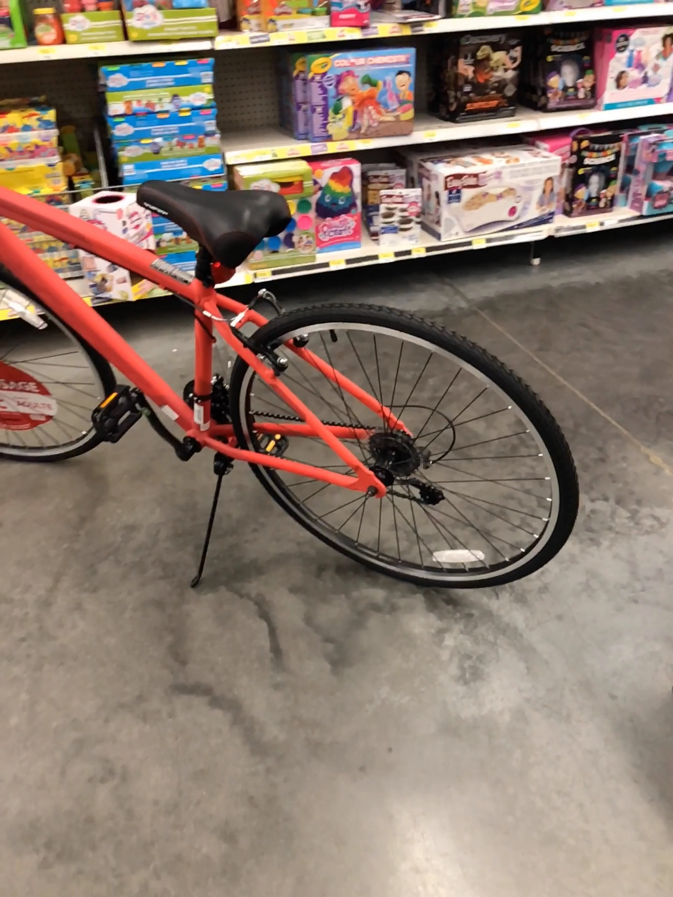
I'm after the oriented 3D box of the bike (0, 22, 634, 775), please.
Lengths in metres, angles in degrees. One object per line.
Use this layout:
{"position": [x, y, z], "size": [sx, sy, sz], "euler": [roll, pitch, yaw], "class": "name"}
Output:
{"position": [-0.428, -0.184, 1.441], "size": [1.689, 1.000, 0.616], "euler": [10, 36, 21], "class": "bike"}
